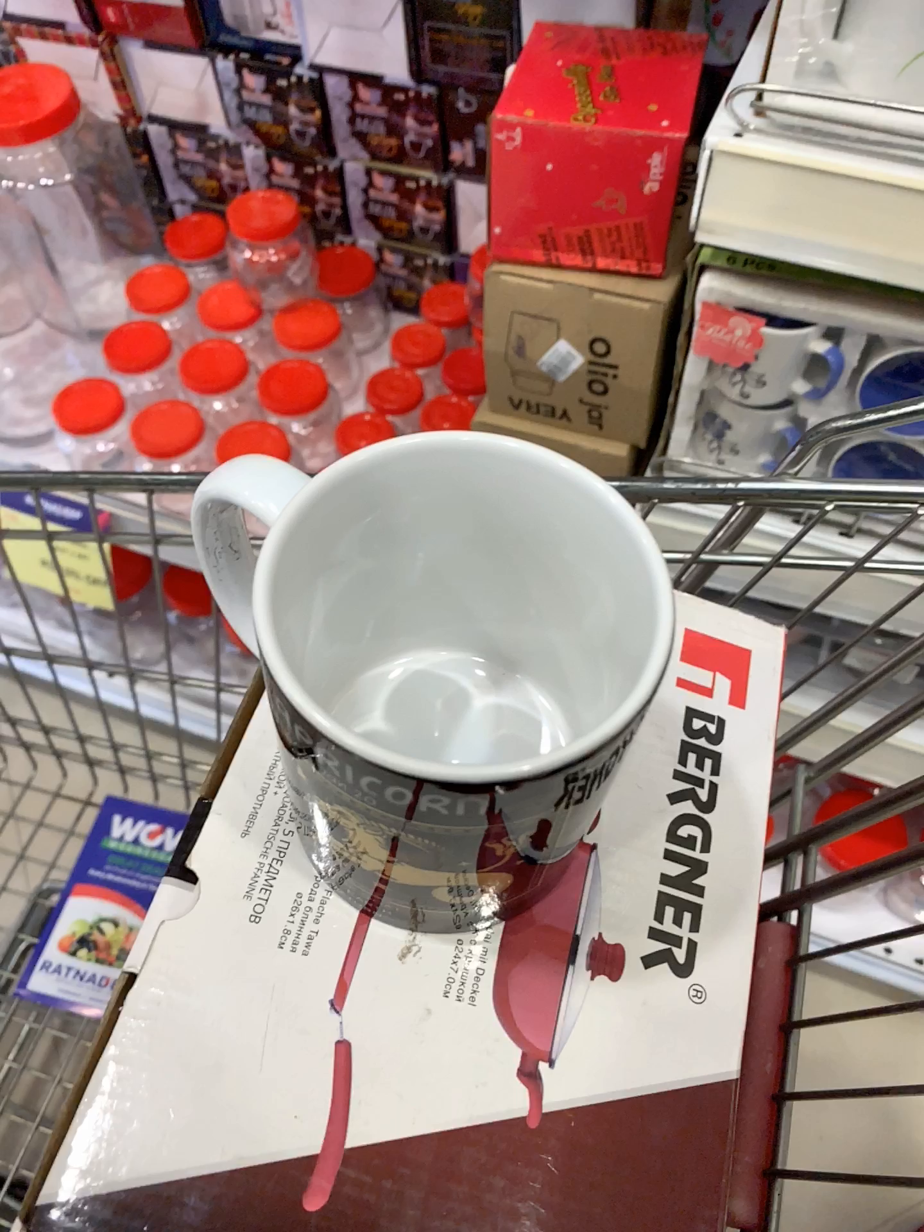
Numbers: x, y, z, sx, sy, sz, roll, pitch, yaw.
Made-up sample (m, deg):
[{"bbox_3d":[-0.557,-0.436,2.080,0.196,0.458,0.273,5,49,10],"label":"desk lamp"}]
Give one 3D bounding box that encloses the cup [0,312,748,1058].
[{"bbox_3d":[-0.023,0.016,0.202,0.120,0.090,0.080,26,61,13],"label":"cup"}]
